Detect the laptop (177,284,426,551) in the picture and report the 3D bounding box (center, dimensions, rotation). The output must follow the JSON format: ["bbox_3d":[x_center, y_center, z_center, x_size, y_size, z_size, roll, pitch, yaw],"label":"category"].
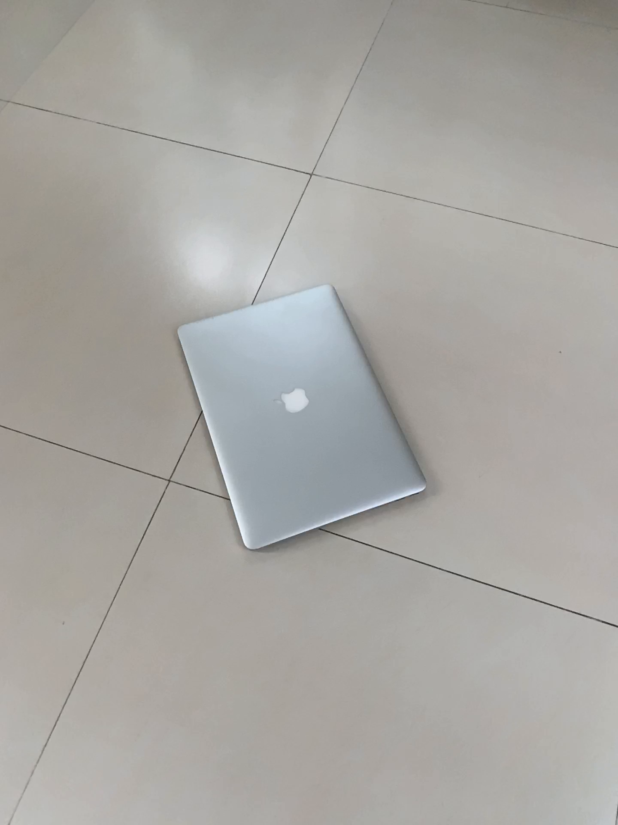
[{"bbox_3d":[-0.023,-0.014,0.871,0.239,0.001,0.356,-18,63,-9],"label":"laptop"}]
